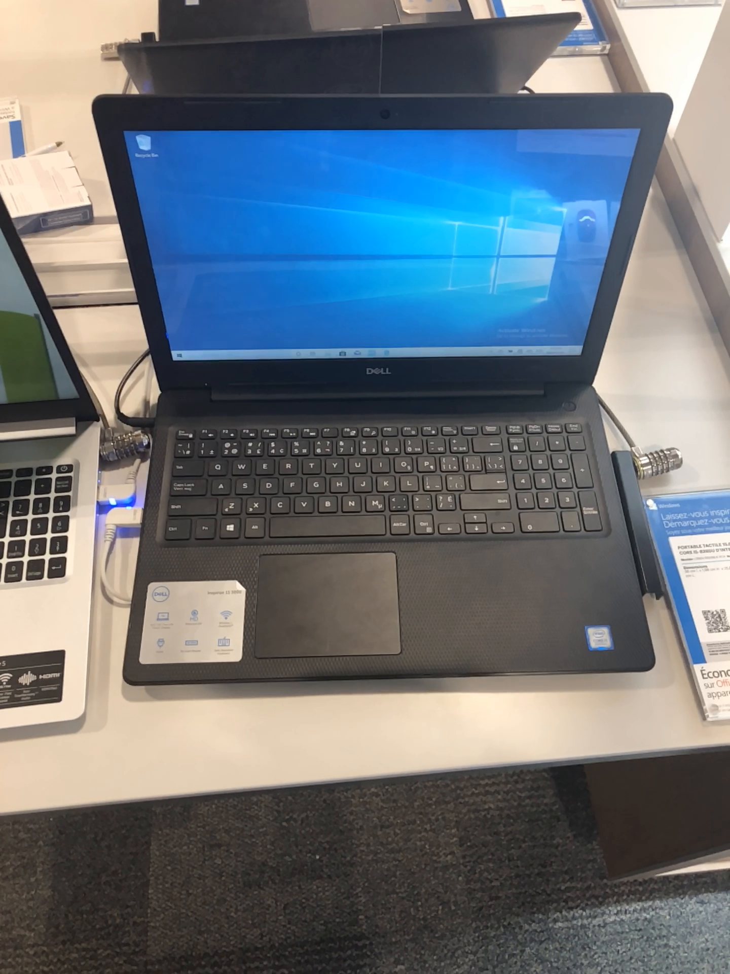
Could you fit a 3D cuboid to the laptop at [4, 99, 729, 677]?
[{"bbox_3d":[0.013,-0.062,0.545,0.368,0.231,0.310,-1,60,-2],"label":"laptop"}]
